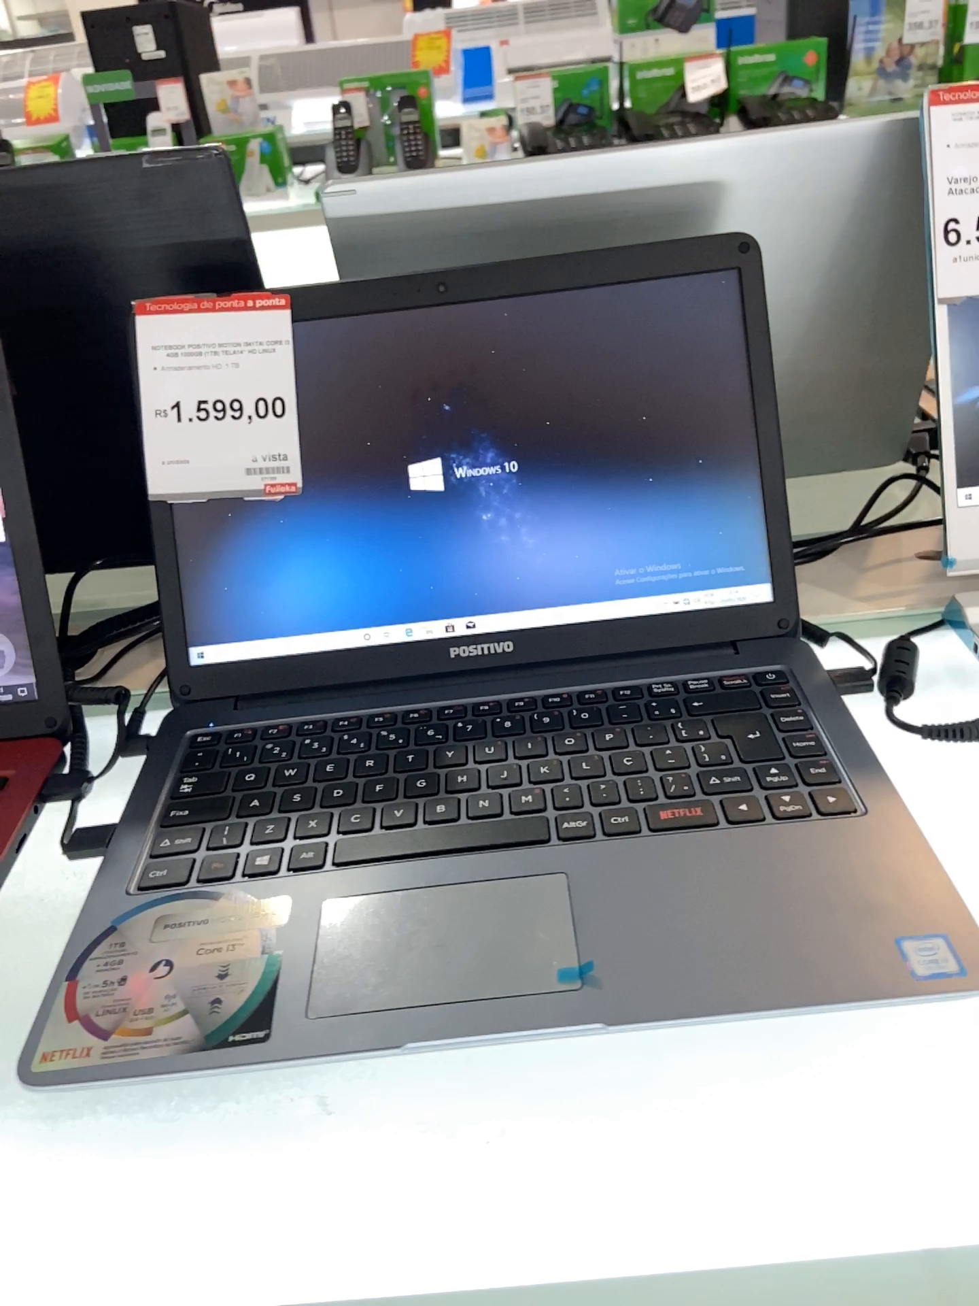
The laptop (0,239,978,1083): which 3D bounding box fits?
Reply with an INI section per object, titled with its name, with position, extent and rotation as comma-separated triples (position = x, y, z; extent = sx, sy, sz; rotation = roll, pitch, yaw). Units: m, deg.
[laptop]
position = -0.012, -0.035, 0.419
extent = 0.318, 0.171, 0.325
rotation = -6, 31, 2
